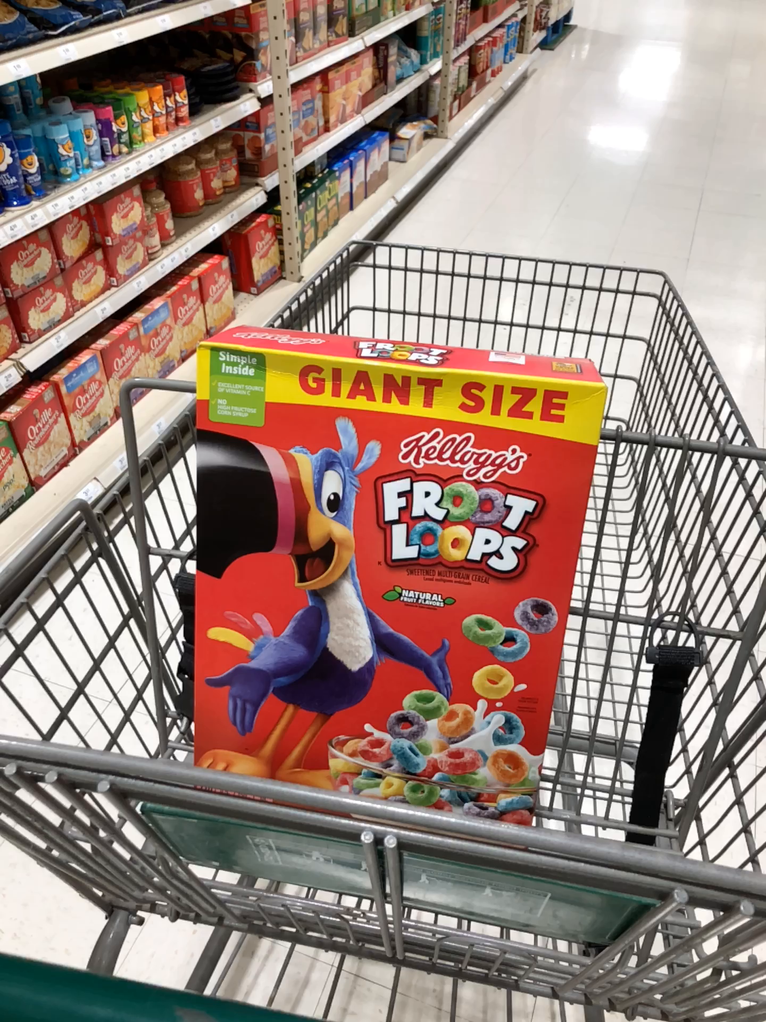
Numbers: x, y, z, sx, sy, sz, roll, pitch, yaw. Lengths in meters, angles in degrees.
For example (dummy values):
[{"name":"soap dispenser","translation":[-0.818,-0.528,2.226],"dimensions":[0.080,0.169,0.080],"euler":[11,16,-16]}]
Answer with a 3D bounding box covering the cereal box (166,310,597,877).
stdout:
[{"name":"cereal box","translation":[-0.013,0.061,0.608],"dimensions":[0.260,0.369,0.090],"euler":[7,19,6]}]
